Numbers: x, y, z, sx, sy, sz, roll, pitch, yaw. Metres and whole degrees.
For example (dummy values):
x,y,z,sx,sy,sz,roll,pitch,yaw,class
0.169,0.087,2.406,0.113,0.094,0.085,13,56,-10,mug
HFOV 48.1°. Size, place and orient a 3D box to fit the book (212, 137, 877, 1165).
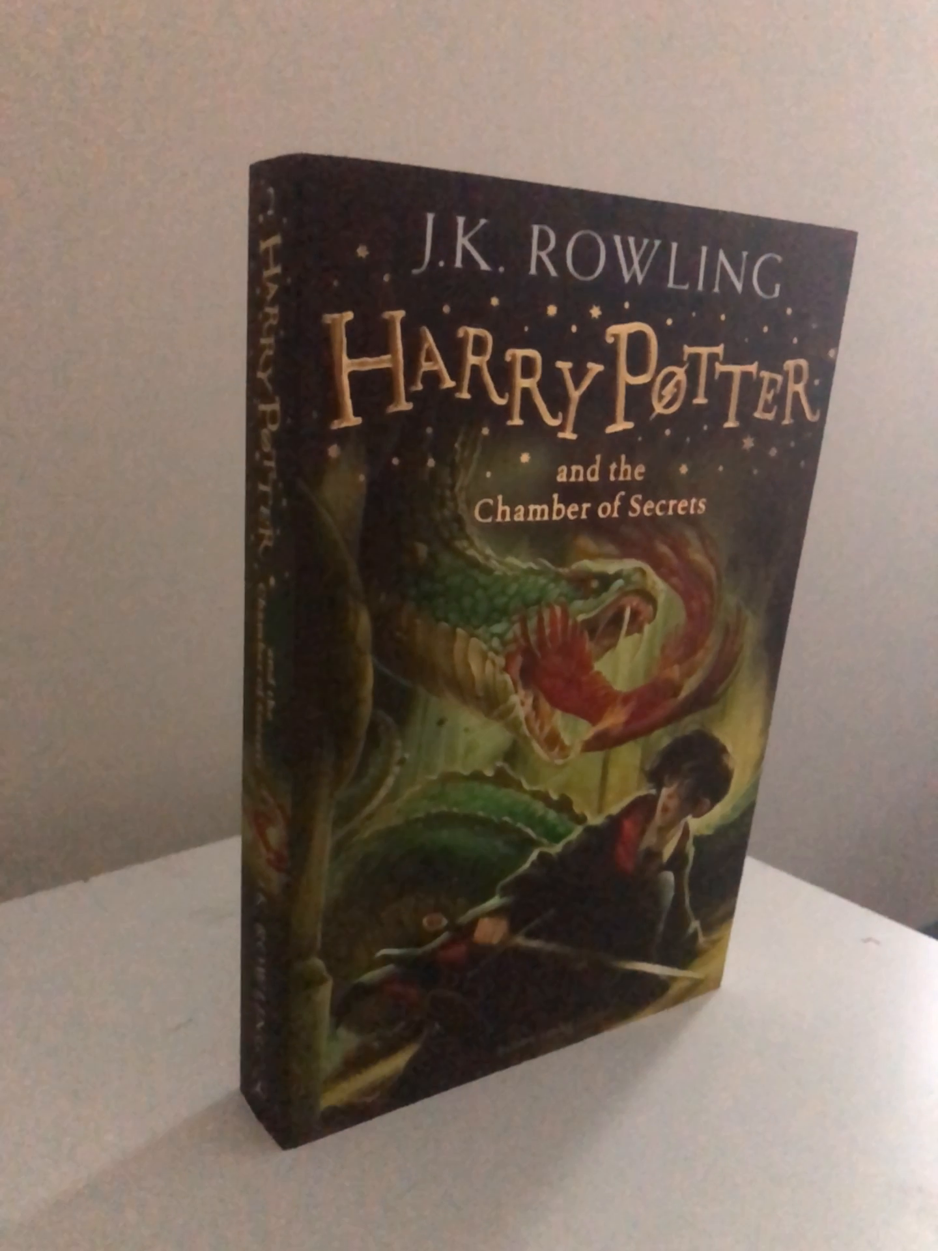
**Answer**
x,y,z,sx,sy,sz,roll,pitch,yaw,class
0.014,0.006,0.233,0.130,0.190,0.039,-6,20,-32,book
